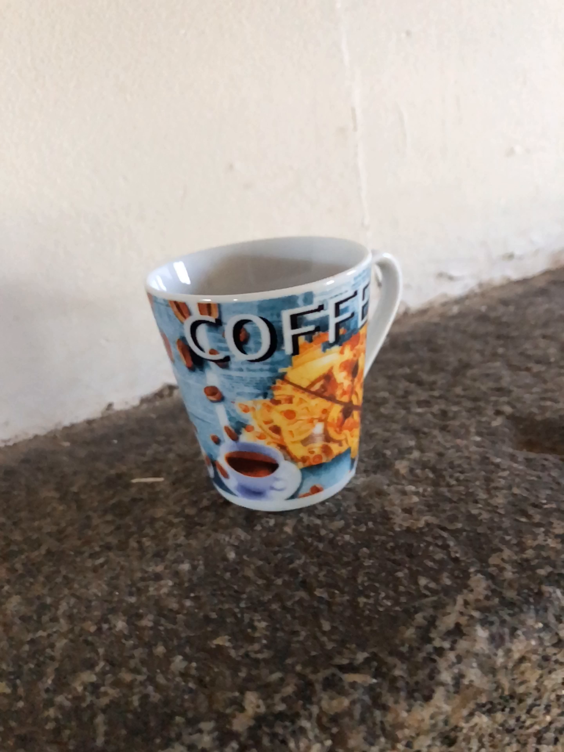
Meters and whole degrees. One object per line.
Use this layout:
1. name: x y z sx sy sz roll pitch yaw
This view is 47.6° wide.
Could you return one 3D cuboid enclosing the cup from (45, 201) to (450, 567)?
1. cup: -0.004 -0.007 0.171 0.080 0.060 0.060 -28 31 -37
